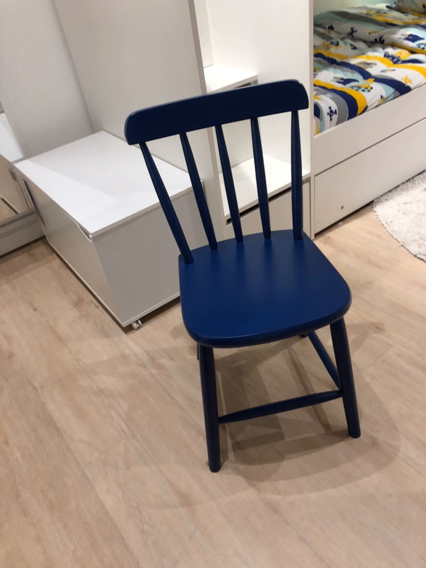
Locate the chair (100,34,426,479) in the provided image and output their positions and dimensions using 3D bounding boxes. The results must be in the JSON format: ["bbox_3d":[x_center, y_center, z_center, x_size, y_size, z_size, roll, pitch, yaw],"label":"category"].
[{"bbox_3d":[0.098,-0.041,1.061,0.460,0.804,0.483,-12,38,-2],"label":"chair"}]
